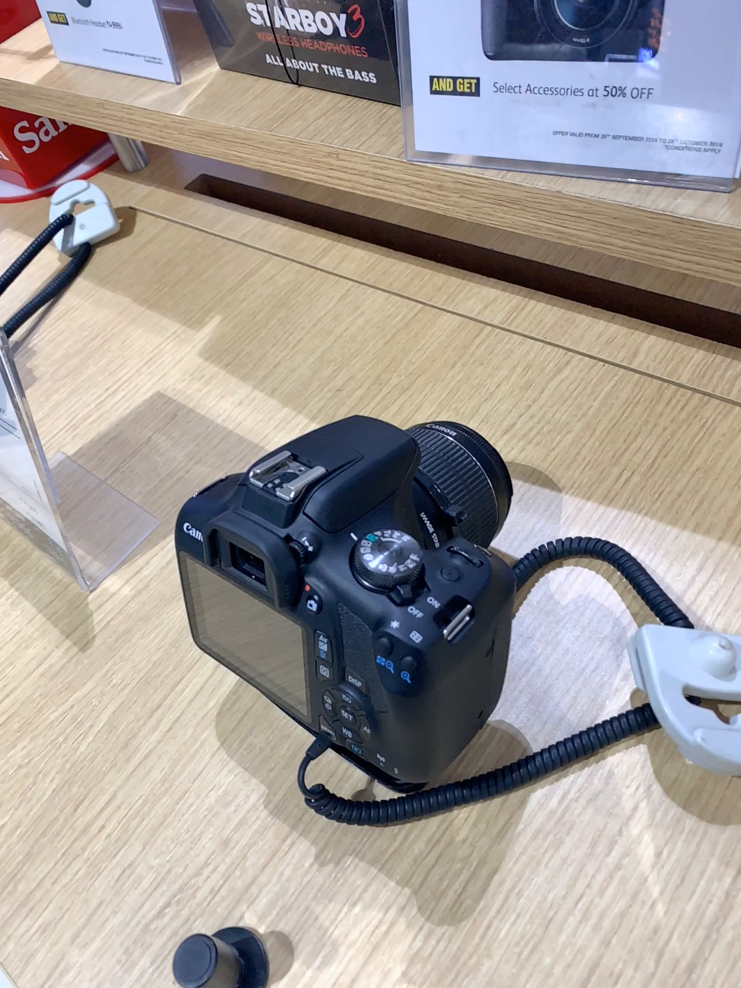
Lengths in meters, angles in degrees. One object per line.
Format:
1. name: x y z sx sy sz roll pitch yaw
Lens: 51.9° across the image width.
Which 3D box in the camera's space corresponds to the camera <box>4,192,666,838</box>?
1. camera: -0.001 -0.003 0.273 0.140 0.110 0.160 25 64 31
